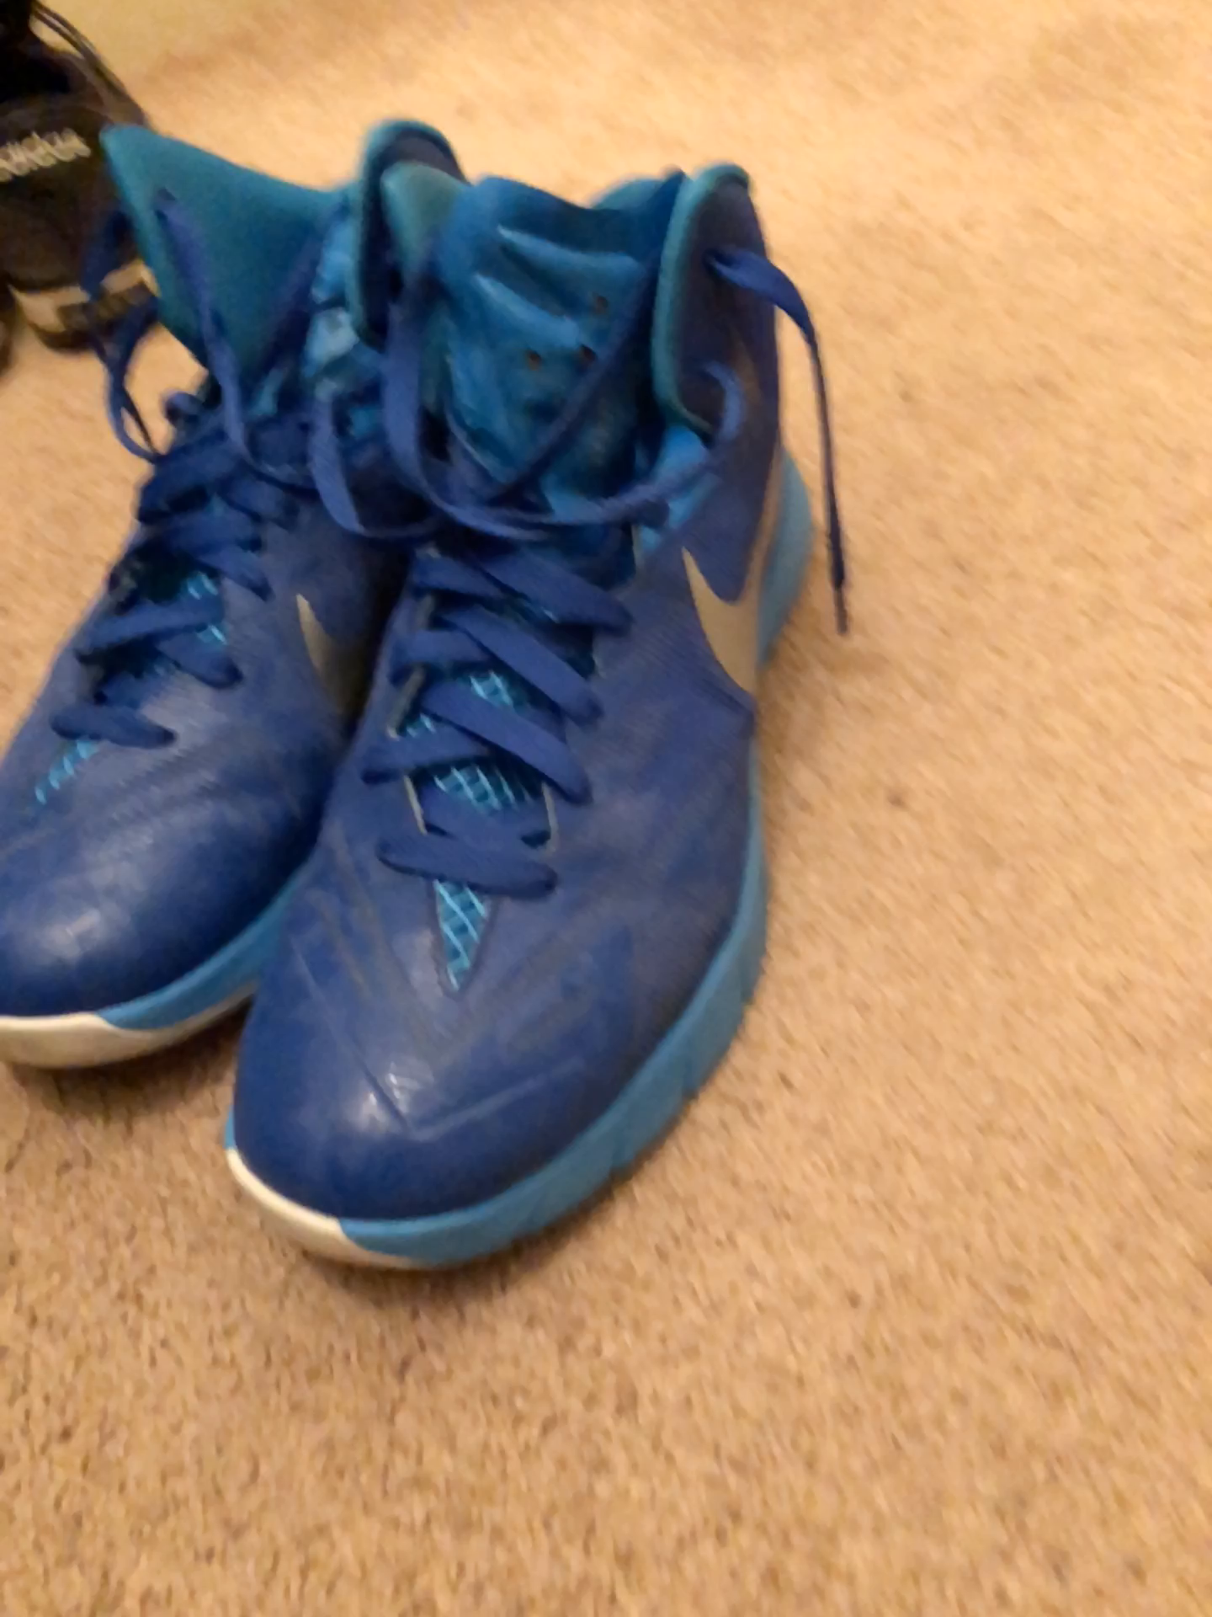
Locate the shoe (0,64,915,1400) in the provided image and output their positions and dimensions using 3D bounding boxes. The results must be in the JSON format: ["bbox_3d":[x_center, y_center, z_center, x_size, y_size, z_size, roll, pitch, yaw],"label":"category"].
[{"bbox_3d":[-0.017,-0.041,0.315,0.122,0.134,0.281,10,53,20],"label":"shoe"}]

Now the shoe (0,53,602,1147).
[{"bbox_3d":[-0.120,-0.077,0.371,0.120,0.134,0.279,11,53,22],"label":"shoe"}]
